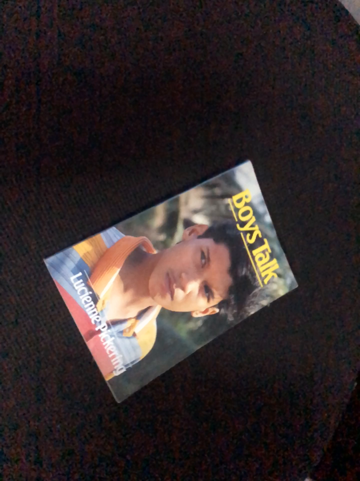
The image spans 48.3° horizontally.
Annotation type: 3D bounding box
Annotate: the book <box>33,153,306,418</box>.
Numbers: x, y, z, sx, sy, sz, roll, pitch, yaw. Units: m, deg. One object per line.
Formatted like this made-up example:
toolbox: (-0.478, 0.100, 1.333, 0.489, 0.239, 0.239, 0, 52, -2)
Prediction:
book: (0.007, 0.029, 0.313, 0.190, 0.010, 0.130, -28, 105, -20)
